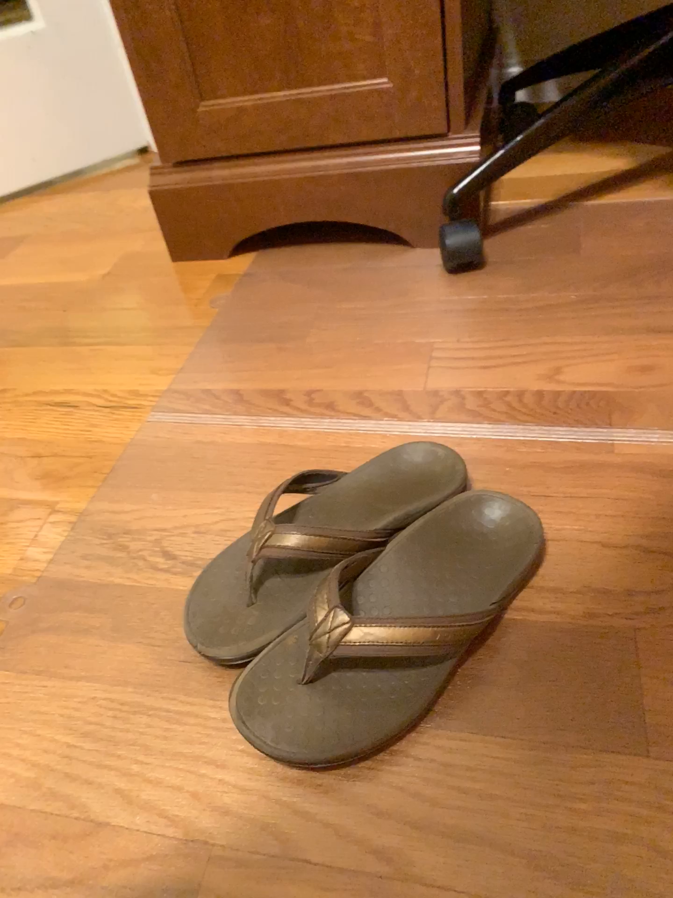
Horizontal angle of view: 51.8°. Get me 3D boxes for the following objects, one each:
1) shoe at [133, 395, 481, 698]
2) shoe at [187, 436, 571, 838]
[{"bbox_3d":[-0.013,0.059,0.515,0.251,0.049,0.092,-35,45,-24],"label":"shoe"},{"bbox_3d":[0.039,0.101,0.446,0.100,0.061,0.247,27,54,37],"label":"shoe"}]
